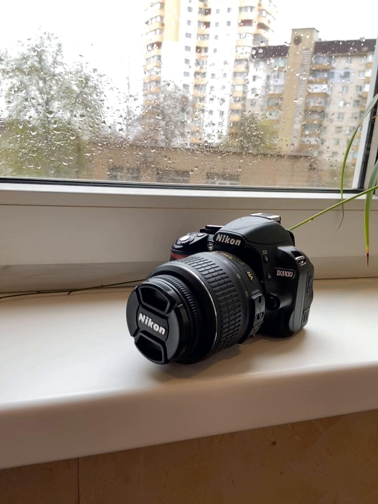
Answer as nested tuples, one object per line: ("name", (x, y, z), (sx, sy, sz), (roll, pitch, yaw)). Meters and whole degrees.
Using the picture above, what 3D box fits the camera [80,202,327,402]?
("camera", (0.016, 0.018, 0.313), (0.124, 0.091, 0.155), (15, 18, 37))
